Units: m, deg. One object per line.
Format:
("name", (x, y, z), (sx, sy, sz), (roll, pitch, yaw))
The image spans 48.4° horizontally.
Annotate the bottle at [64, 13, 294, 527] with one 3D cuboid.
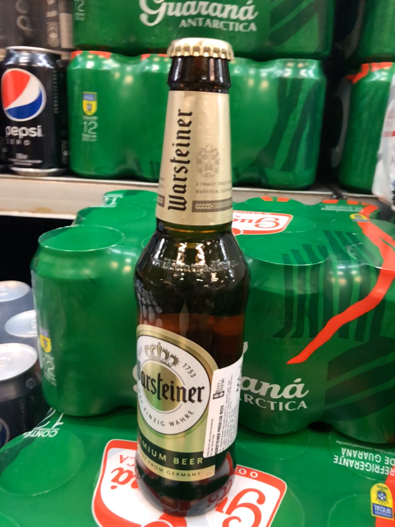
("bottle", (-0.010, 0.015, 0.214), (0.070, 0.229, 0.060), (16, 24, 34))
